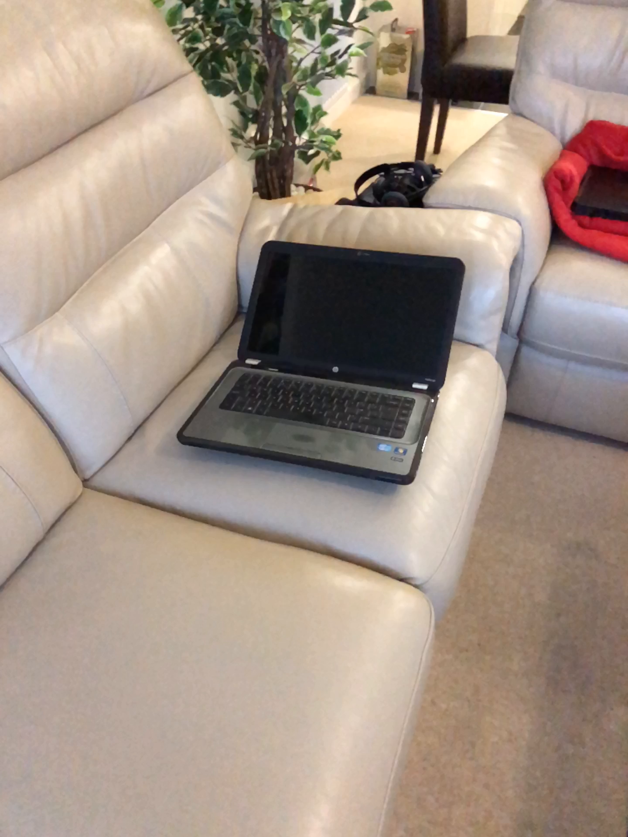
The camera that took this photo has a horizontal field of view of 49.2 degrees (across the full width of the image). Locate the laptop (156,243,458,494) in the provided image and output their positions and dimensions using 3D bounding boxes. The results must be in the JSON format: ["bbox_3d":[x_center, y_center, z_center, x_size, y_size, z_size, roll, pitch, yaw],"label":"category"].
[{"bbox_3d":[0.013,-0.107,1.096,0.358,0.114,0.426,11,43,13],"label":"laptop"}]
